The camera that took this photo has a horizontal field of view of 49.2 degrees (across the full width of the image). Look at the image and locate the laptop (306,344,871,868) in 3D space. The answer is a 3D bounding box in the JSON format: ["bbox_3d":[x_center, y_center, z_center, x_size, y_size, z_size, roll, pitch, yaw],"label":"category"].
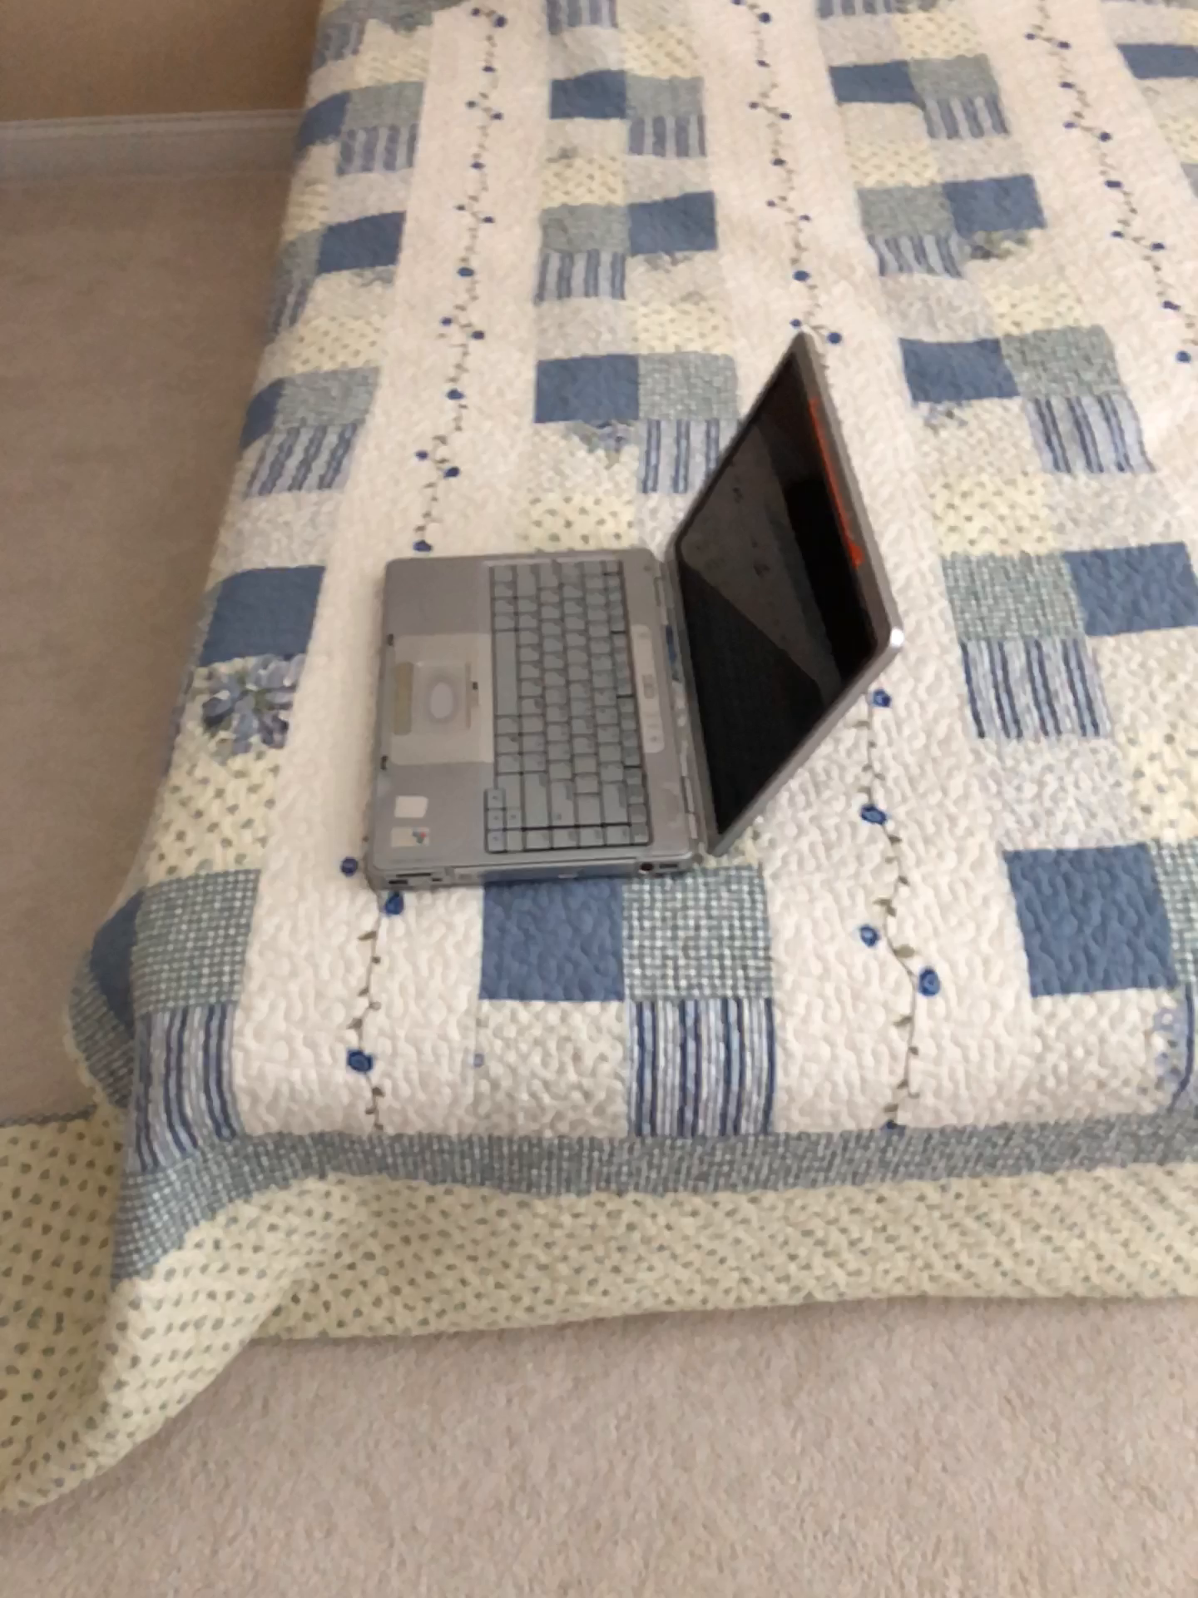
[{"bbox_3d":[-0.010,-0.145,0.931,0.326,0.193,0.324,-3,50,-2],"label":"laptop"}]
